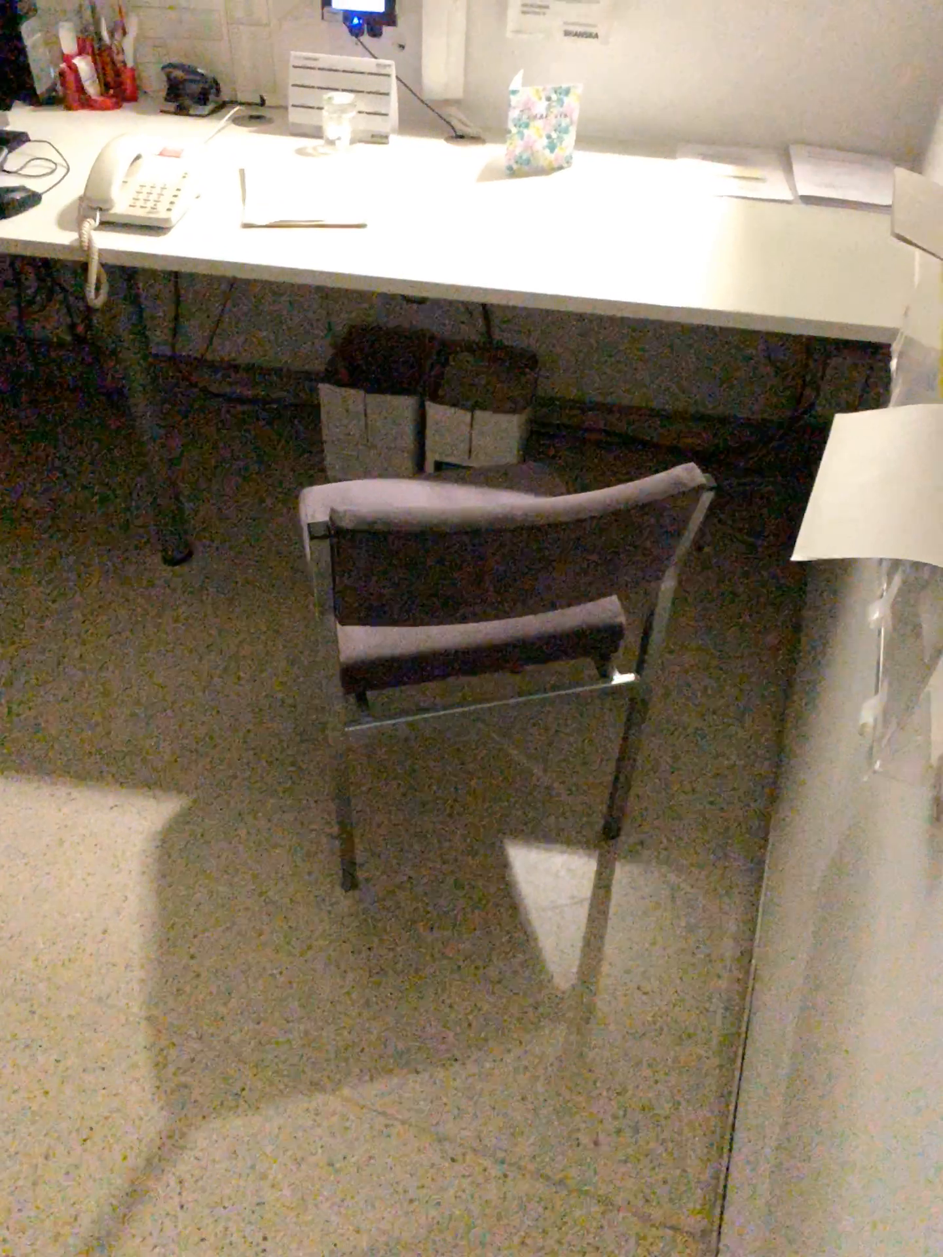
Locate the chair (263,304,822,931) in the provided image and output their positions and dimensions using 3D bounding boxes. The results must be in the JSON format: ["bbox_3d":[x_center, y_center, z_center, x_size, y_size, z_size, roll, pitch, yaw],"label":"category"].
[{"bbox_3d":[0.030,-0.027,1.420,0.570,0.663,0.555,-6,43,-11],"label":"chair"}]
